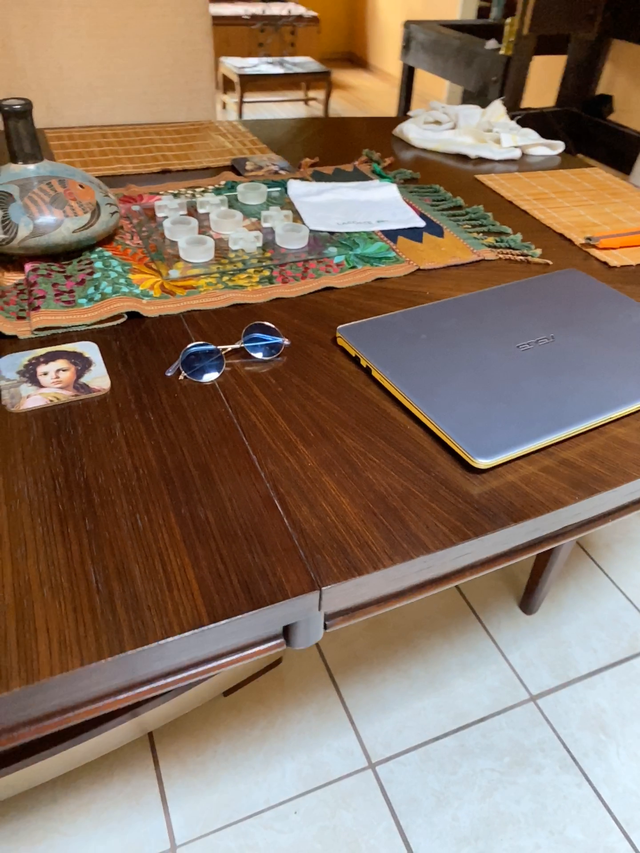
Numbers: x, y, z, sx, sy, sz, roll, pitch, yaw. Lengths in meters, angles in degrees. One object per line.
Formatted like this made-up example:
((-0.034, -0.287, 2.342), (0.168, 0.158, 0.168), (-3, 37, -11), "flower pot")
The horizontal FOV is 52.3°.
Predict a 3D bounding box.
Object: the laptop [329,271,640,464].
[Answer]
((0.235, -0.092, 0.751), (0.384, 0.001, 0.247), (-18, 44, -25), "laptop")
